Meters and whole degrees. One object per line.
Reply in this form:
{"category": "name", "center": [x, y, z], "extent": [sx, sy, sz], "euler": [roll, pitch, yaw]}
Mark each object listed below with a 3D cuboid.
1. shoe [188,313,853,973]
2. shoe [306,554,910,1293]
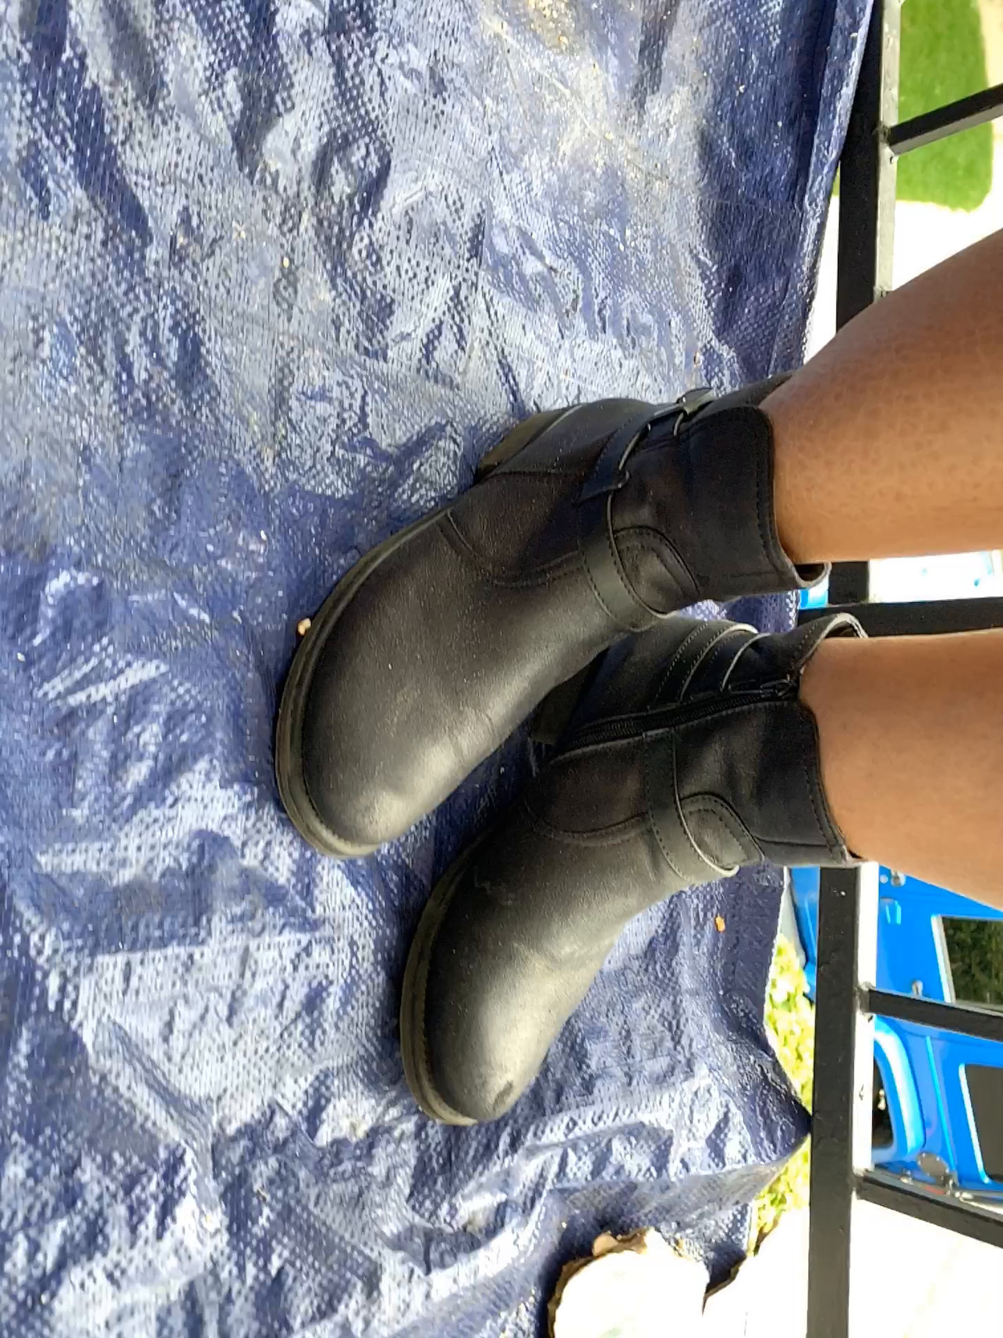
{"category": "shoe", "center": [0.026, -0.026, 0.442], "extent": [0.281, 0.129, 0.100], "euler": [-50, 123, -33]}
{"category": "shoe", "center": [0.065, 0.085, 0.448], "extent": [0.280, 0.109, 0.110], "euler": [-53, 124, -32]}
